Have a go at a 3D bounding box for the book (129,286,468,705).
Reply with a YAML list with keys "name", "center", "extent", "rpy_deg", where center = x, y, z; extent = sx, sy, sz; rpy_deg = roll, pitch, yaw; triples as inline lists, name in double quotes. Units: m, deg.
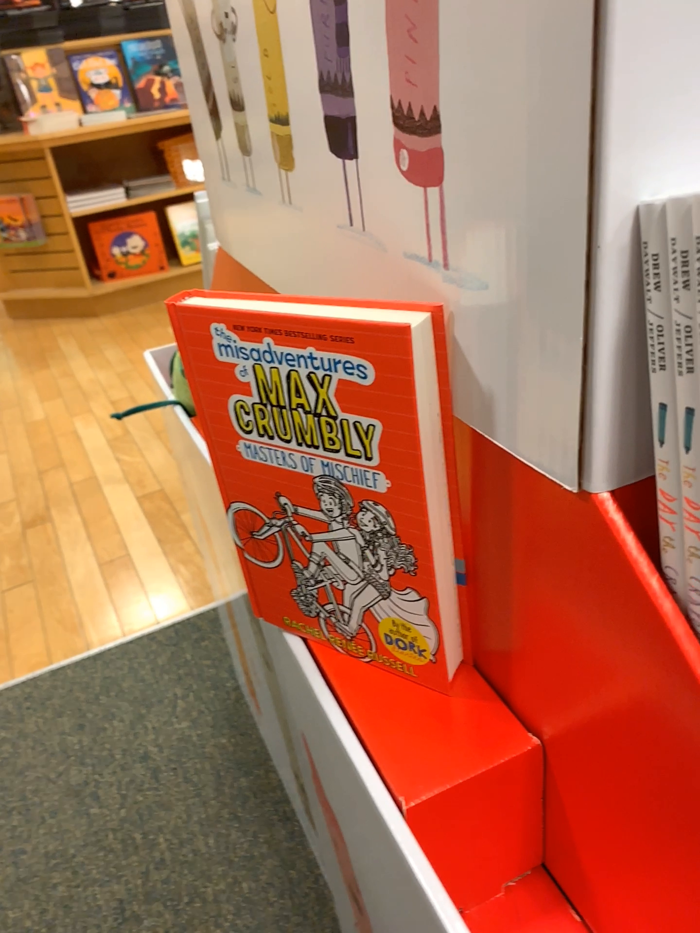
- name: "book"
  center: [-0.019, 0.016, 0.360]
  extent: [0.142, 0.201, 0.031]
  rpy_deg: [11, 37, 30]
